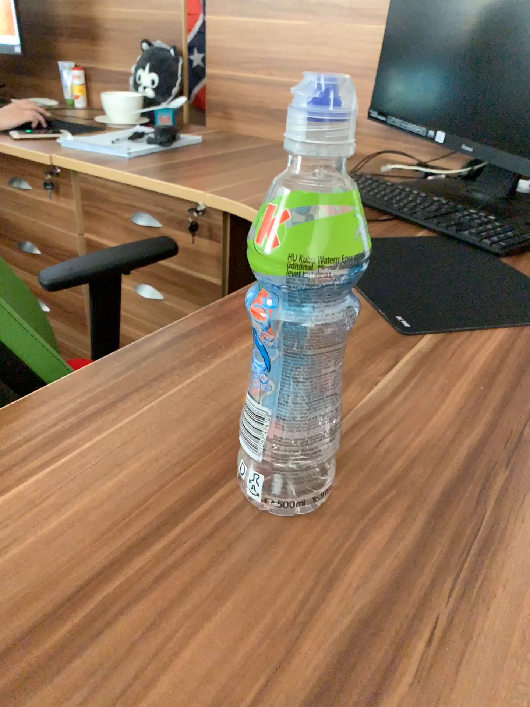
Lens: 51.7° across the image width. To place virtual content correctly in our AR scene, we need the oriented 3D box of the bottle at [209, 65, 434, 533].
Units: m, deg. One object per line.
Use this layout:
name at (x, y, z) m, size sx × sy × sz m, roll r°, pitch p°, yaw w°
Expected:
bottle at (0.017, -0.021, 0.303) m, size 0.070 × 0.239 × 0.070 m, roll 3°, pitch 30°, yaw -2°
